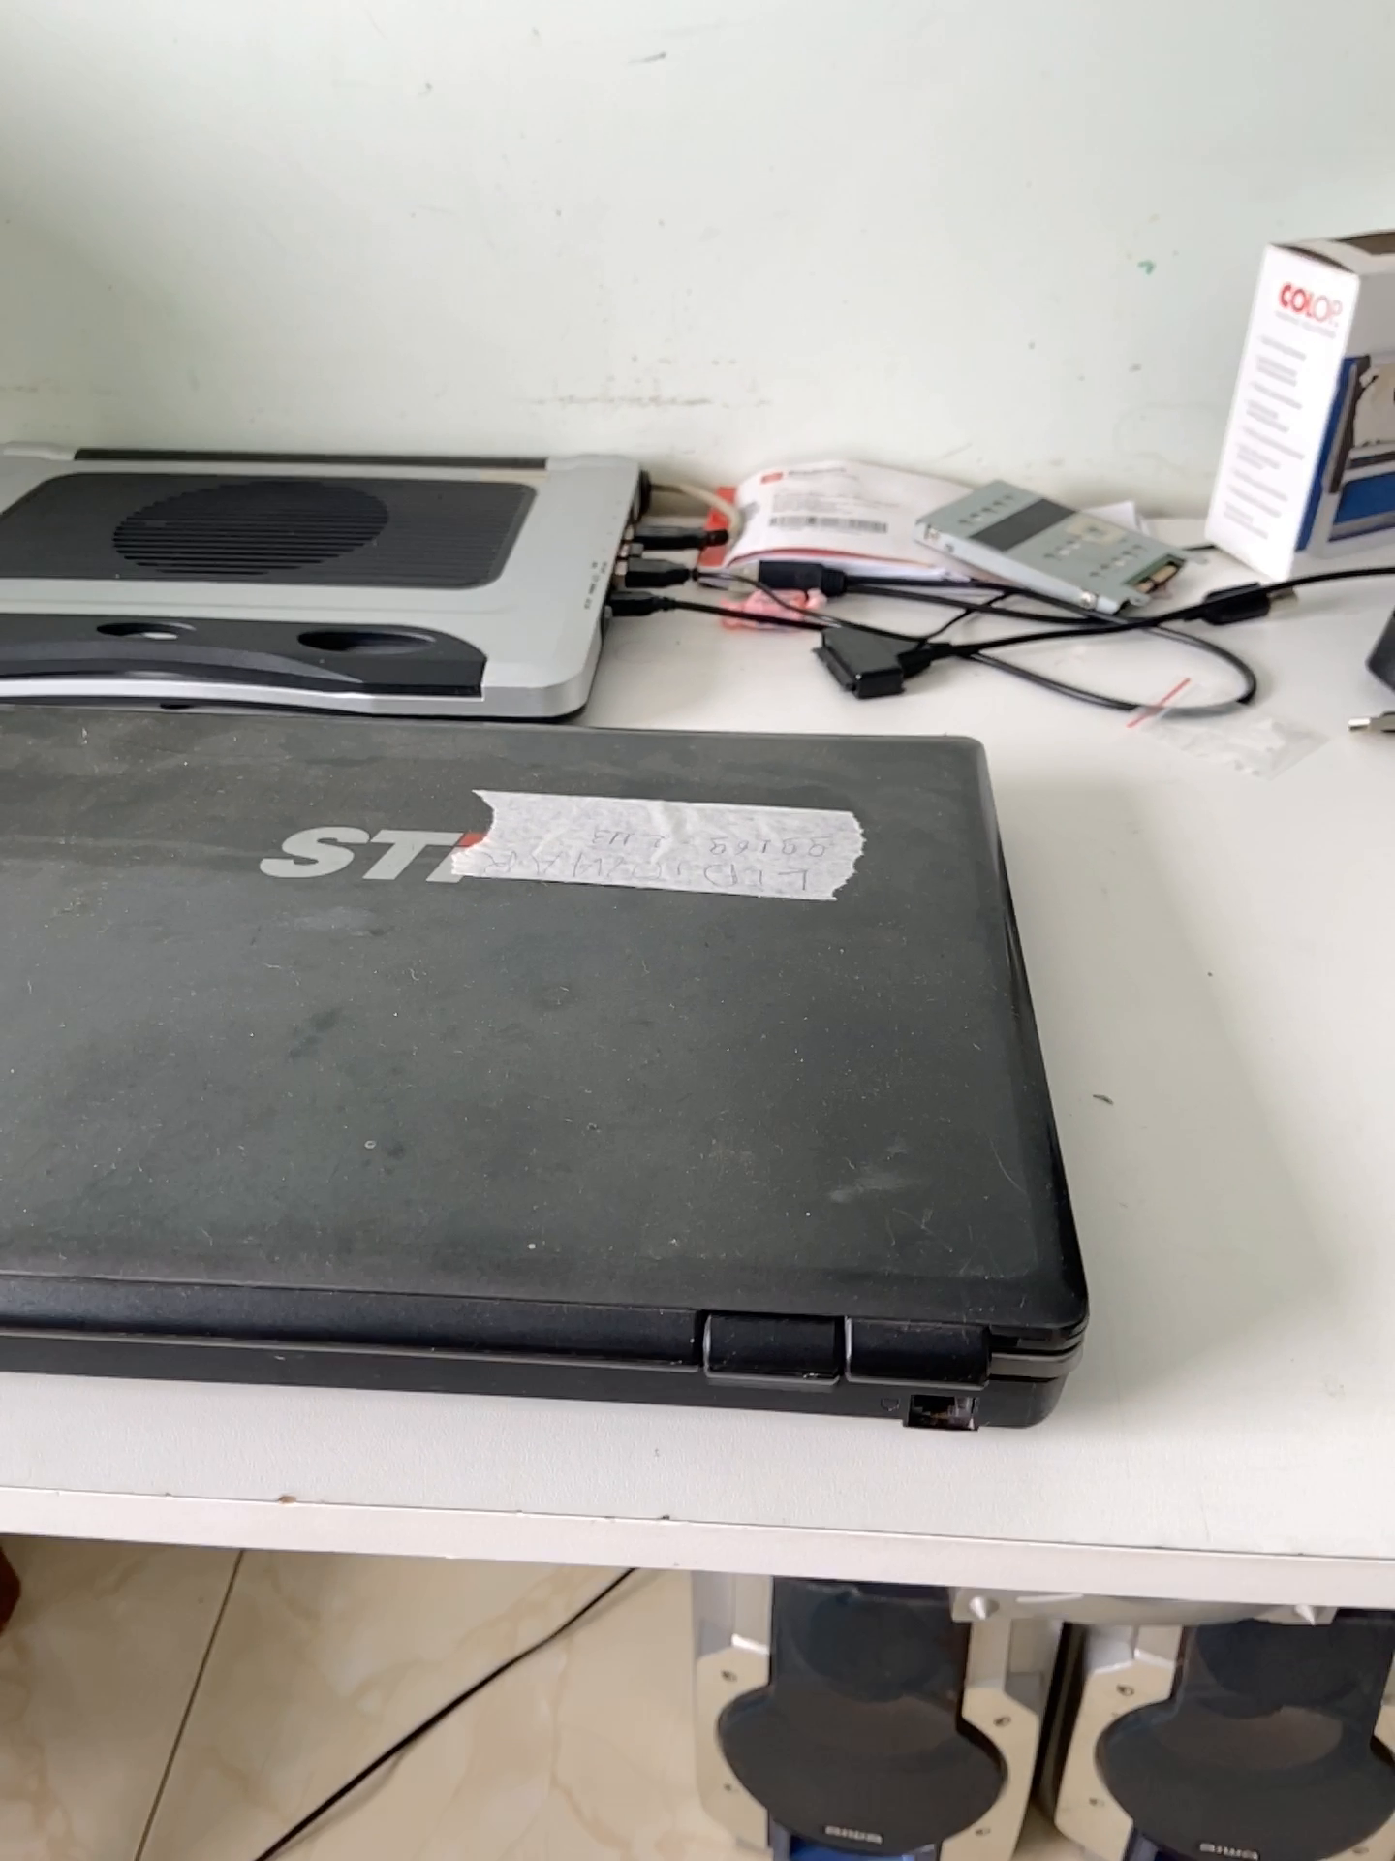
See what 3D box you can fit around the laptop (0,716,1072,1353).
[{"bbox_3d":[-0.092,0.002,0.369,0.337,0.006,0.236,2,34,5],"label":"laptop"}]
